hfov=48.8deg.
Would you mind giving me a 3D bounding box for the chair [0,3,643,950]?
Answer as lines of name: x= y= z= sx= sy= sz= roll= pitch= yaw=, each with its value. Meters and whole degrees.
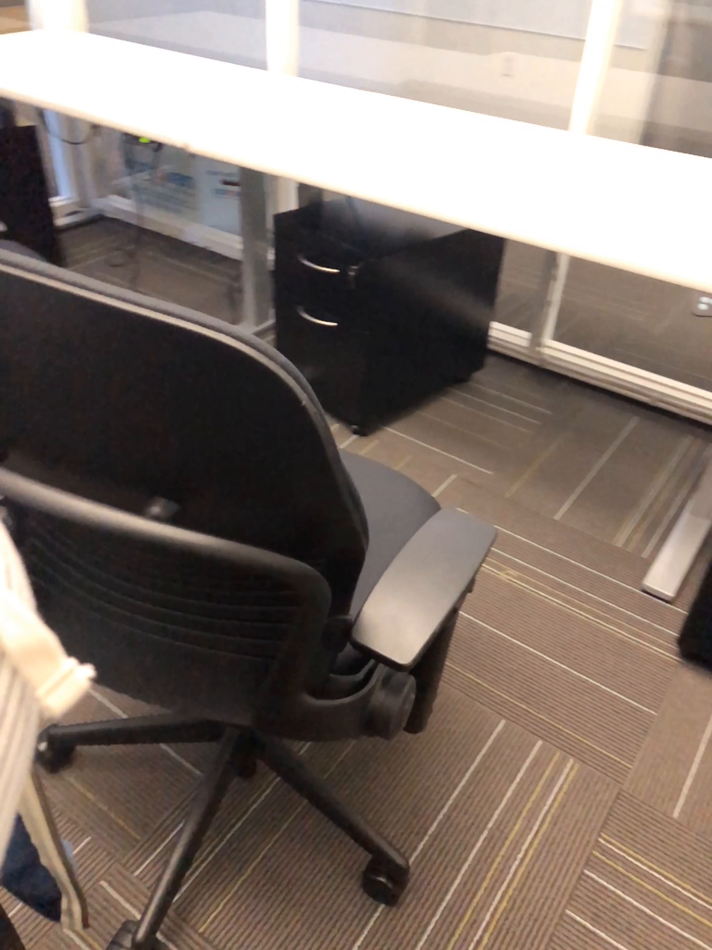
chair: x=-0.168 y=0.026 z=1.069 sx=0.731 sy=1.035 sz=0.834 roll=16 pitch=38 yaw=17
